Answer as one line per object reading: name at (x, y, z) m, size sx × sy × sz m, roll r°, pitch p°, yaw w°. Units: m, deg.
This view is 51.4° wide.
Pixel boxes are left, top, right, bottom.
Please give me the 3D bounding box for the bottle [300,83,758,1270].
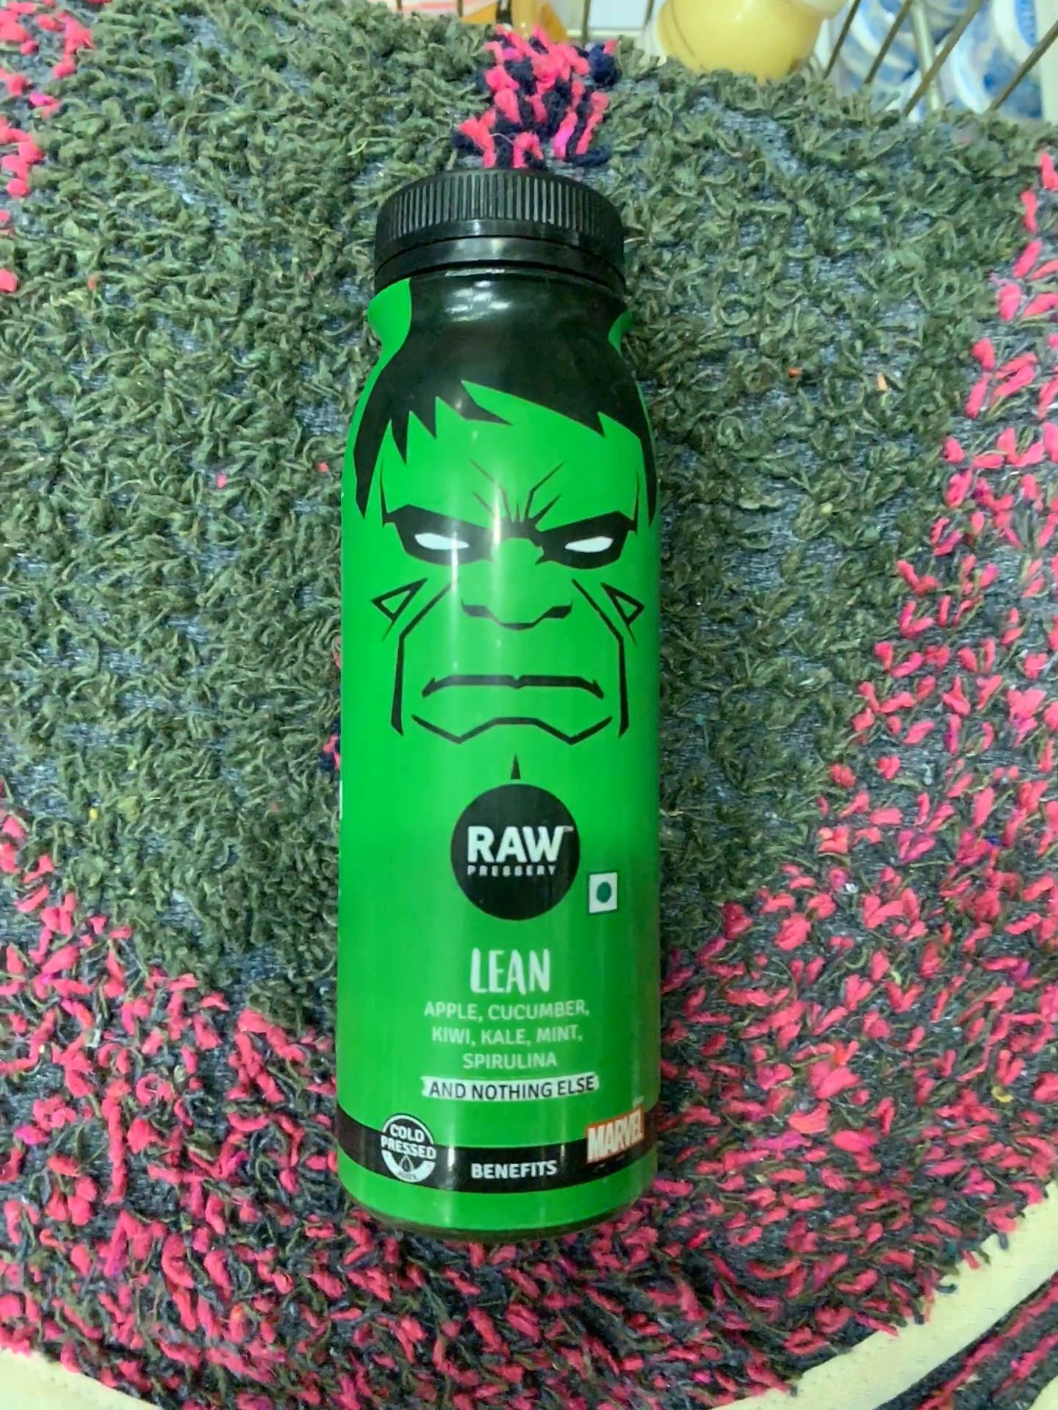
bottle at (-0.001, -0.005, 0.173) m, size 0.060 × 0.050 × 0.160 m, roll 0°, pitch 87°, yaw -1°
